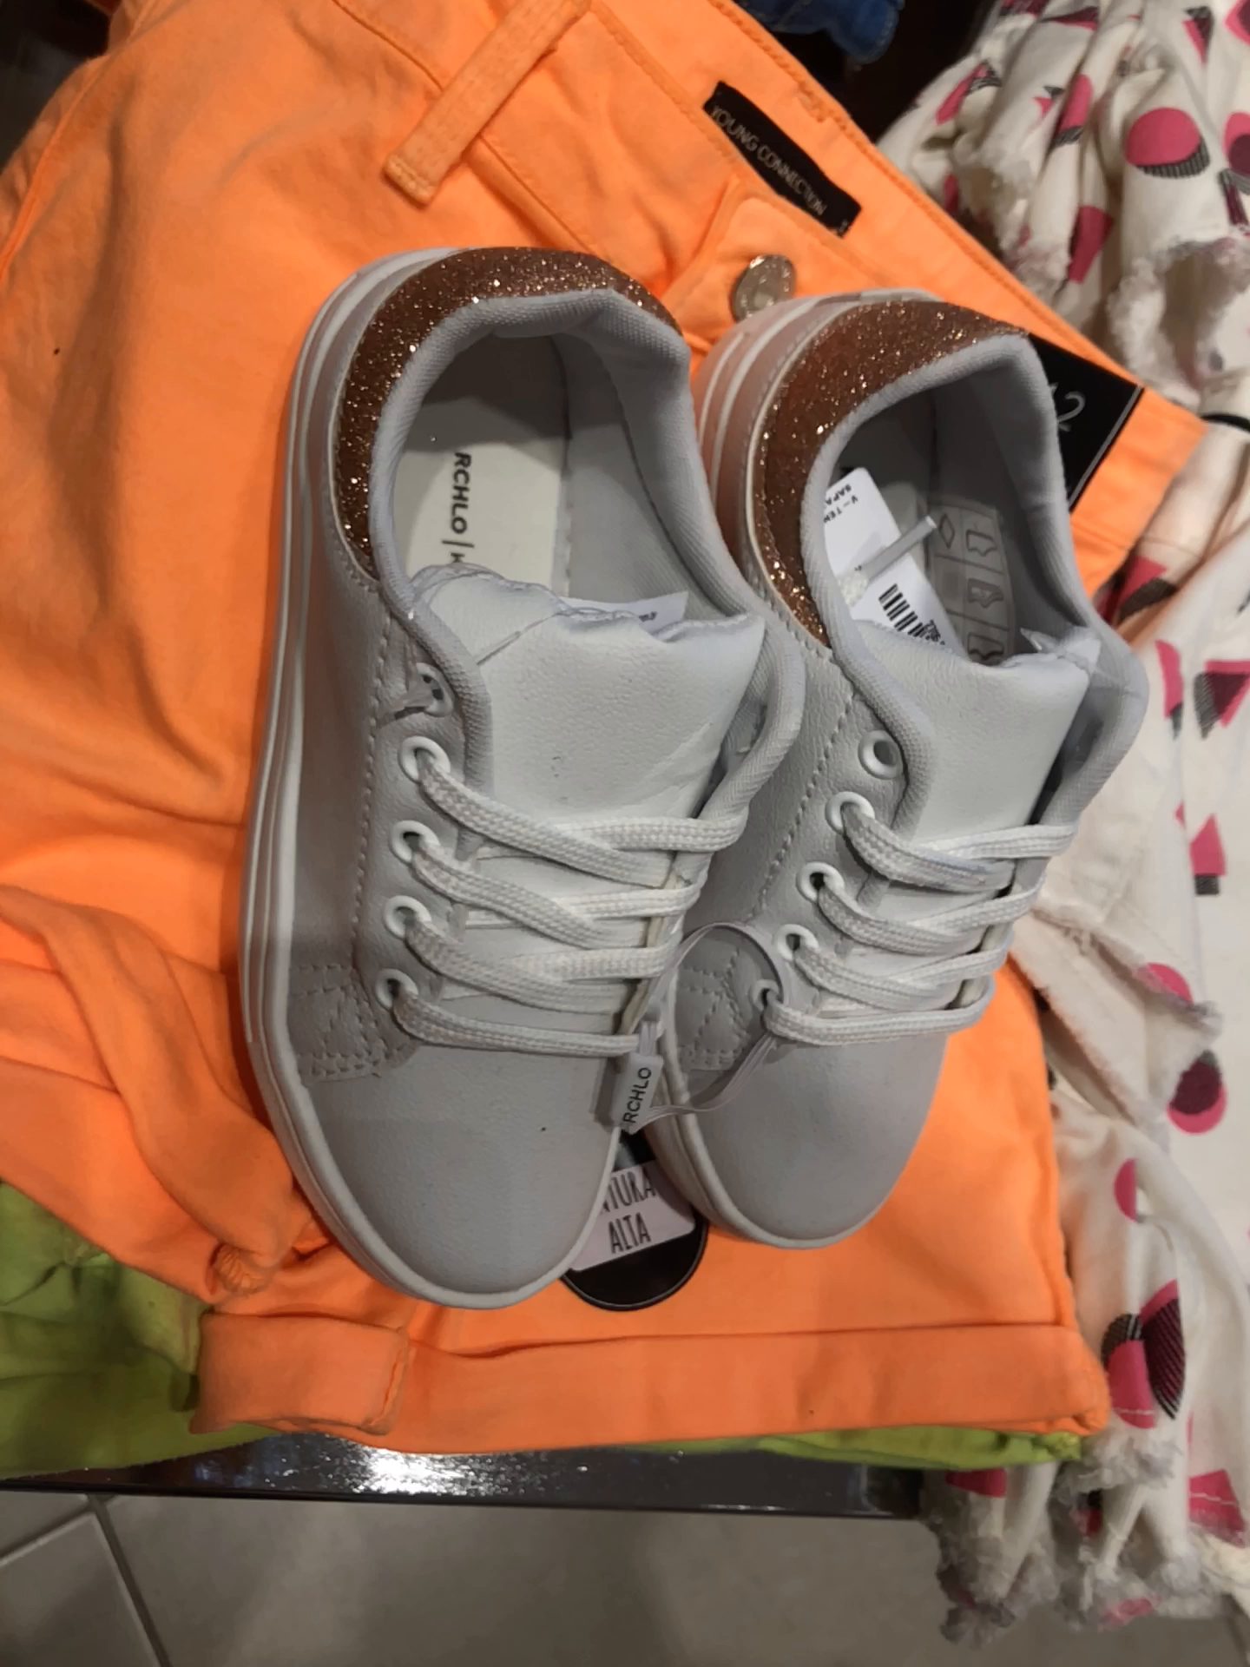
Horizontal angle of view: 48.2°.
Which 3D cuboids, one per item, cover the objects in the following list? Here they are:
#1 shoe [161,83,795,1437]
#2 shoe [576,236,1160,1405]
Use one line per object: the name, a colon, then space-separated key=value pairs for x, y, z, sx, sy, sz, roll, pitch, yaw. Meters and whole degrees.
shoe: x=-0.034 y=-0.010 z=0.264 sx=0.080 sy=0.070 sz=0.210 roll=-1 pitch=103 yaw=-33
shoe: x=0.042 y=-0.002 z=0.291 sx=0.080 sy=0.070 sz=0.210 roll=-2 pitch=104 yaw=-19
